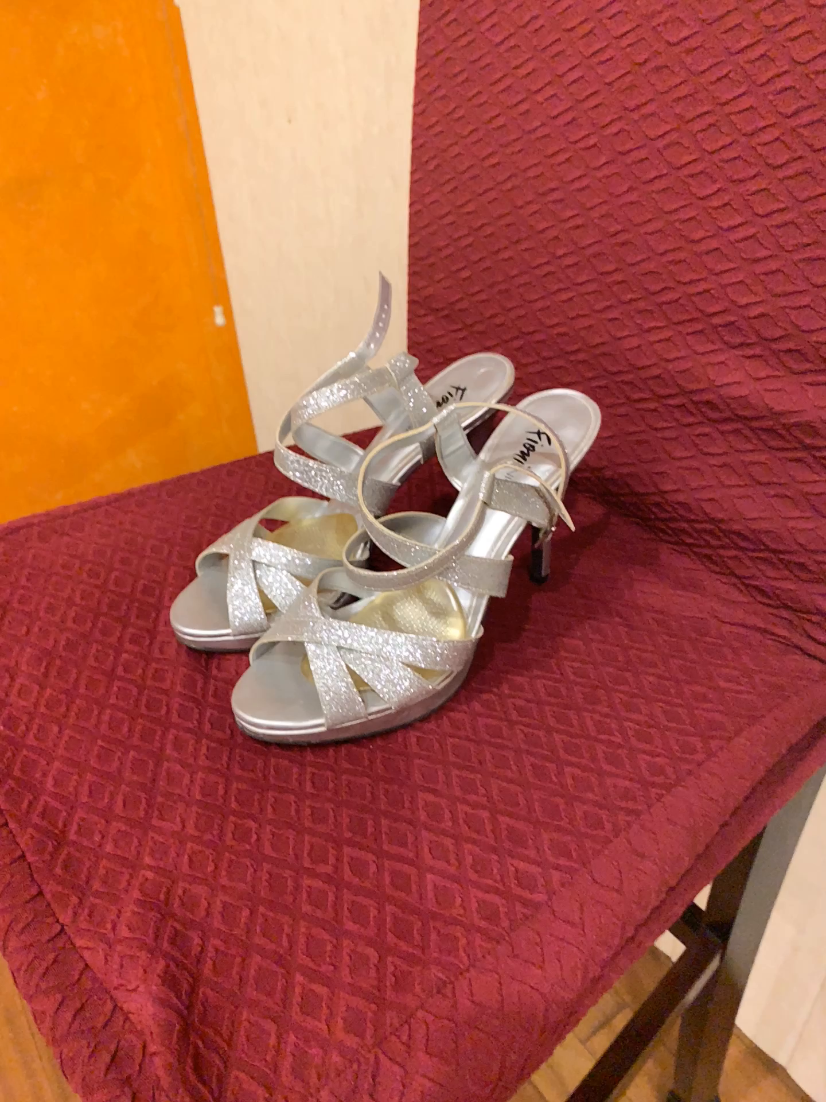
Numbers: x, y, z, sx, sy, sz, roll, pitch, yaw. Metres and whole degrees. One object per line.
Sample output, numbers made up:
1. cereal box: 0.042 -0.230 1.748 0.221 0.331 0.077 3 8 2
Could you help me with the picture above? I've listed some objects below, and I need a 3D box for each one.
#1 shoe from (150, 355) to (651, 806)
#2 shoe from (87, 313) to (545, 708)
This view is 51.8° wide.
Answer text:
1. shoe: 0.002 0.002 0.435 0.220 0.119 0.100 -26 42 -28
2. shoe: -0.042 -0.036 0.492 0.230 0.119 0.100 -28 43 -30
